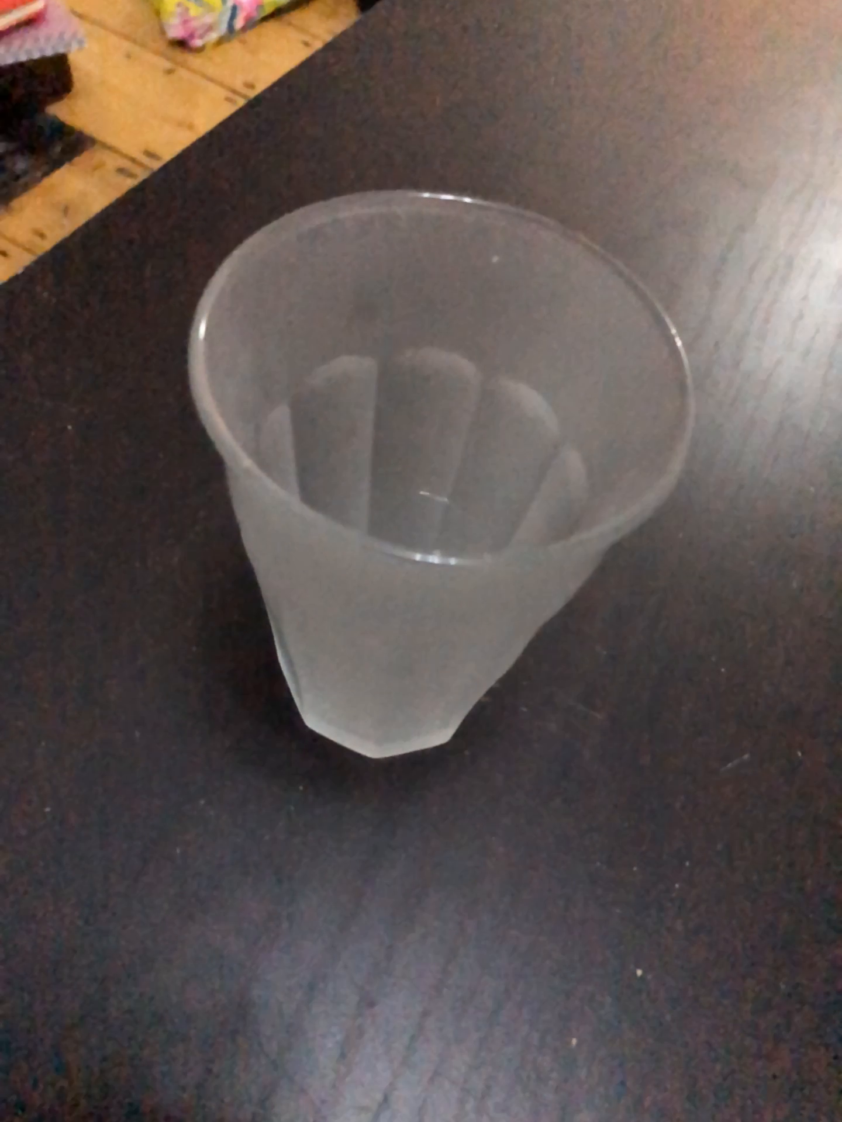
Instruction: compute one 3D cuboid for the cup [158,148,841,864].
[{"bbox_3d":[0.004,-0.005,0.207,0.100,0.129,0.090,-7,59,-13],"label":"cup"}]
